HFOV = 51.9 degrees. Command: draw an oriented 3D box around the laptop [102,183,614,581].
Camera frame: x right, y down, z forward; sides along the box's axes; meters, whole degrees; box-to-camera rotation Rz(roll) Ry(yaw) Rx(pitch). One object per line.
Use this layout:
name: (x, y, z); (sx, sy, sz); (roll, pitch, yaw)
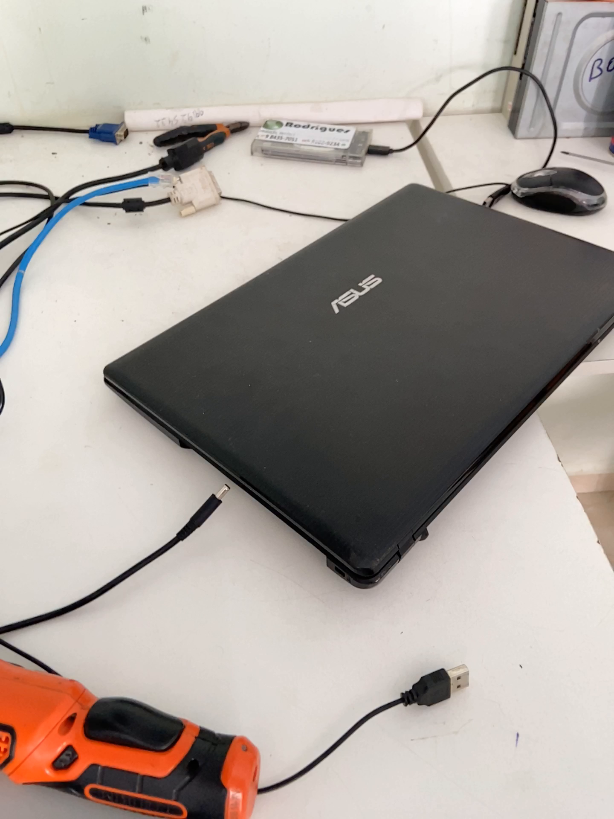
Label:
laptop: (0.071, -0.070, 0.501); (0.253, 0.010, 0.382); (32, 55, 31)
